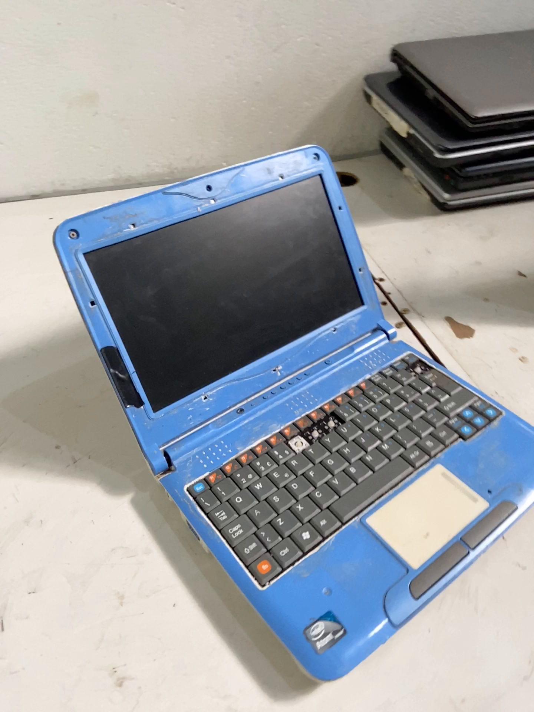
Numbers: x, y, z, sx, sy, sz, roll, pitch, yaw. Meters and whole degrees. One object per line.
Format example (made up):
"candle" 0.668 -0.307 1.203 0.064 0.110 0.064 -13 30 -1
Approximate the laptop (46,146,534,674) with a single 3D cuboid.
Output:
"laptop" 0.038 -0.006 0.387 0.241 0.149 0.287 -28 47 -28
